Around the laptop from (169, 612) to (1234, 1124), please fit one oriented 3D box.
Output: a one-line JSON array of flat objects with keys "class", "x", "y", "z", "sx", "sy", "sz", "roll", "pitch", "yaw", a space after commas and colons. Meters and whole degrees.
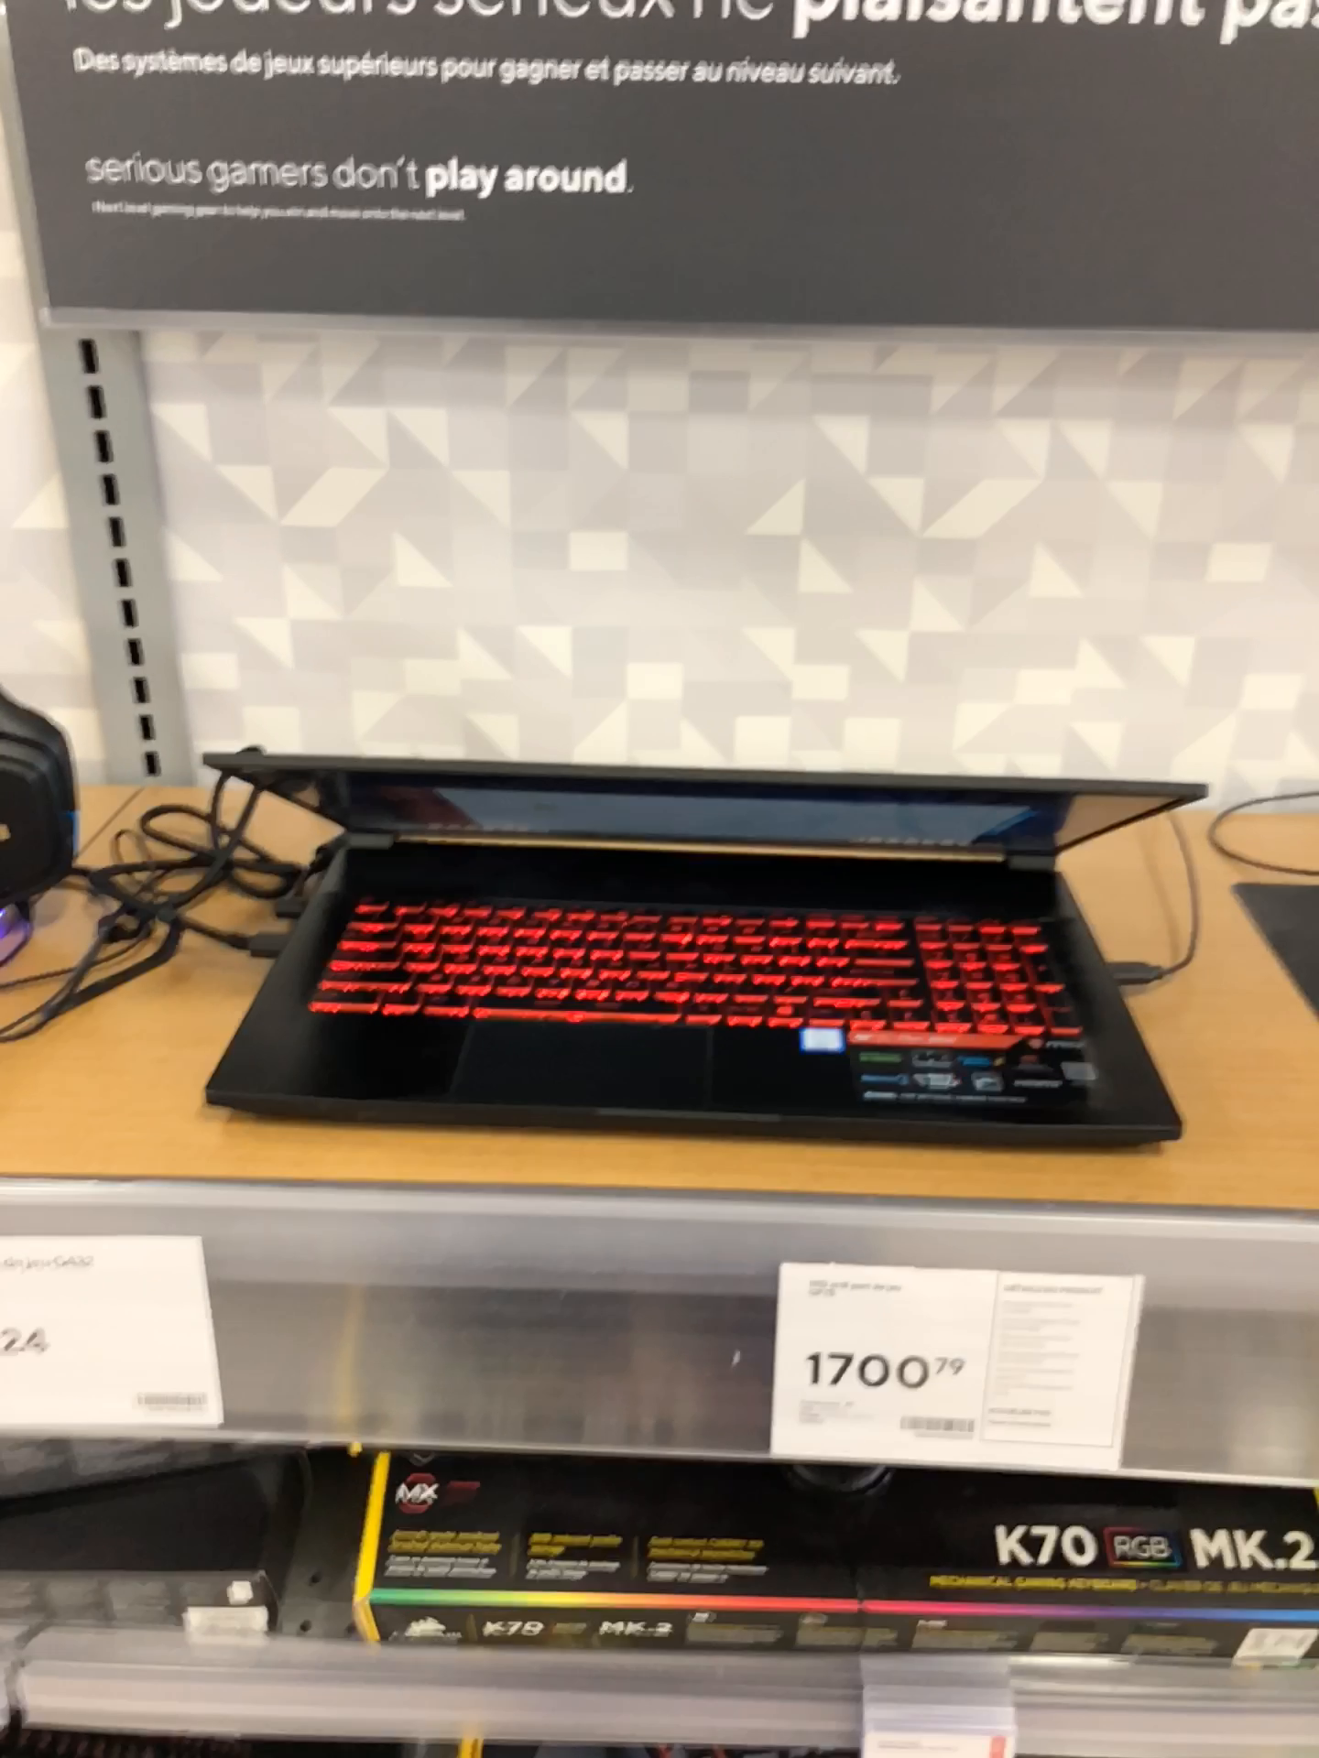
[{"class": "laptop", "x": 0.018, "y": -0.020, "z": 0.675, "sx": 0.393, "sy": 0.133, "sz": 0.249, "roll": 2, "pitch": 26, "yaw": 1}]
